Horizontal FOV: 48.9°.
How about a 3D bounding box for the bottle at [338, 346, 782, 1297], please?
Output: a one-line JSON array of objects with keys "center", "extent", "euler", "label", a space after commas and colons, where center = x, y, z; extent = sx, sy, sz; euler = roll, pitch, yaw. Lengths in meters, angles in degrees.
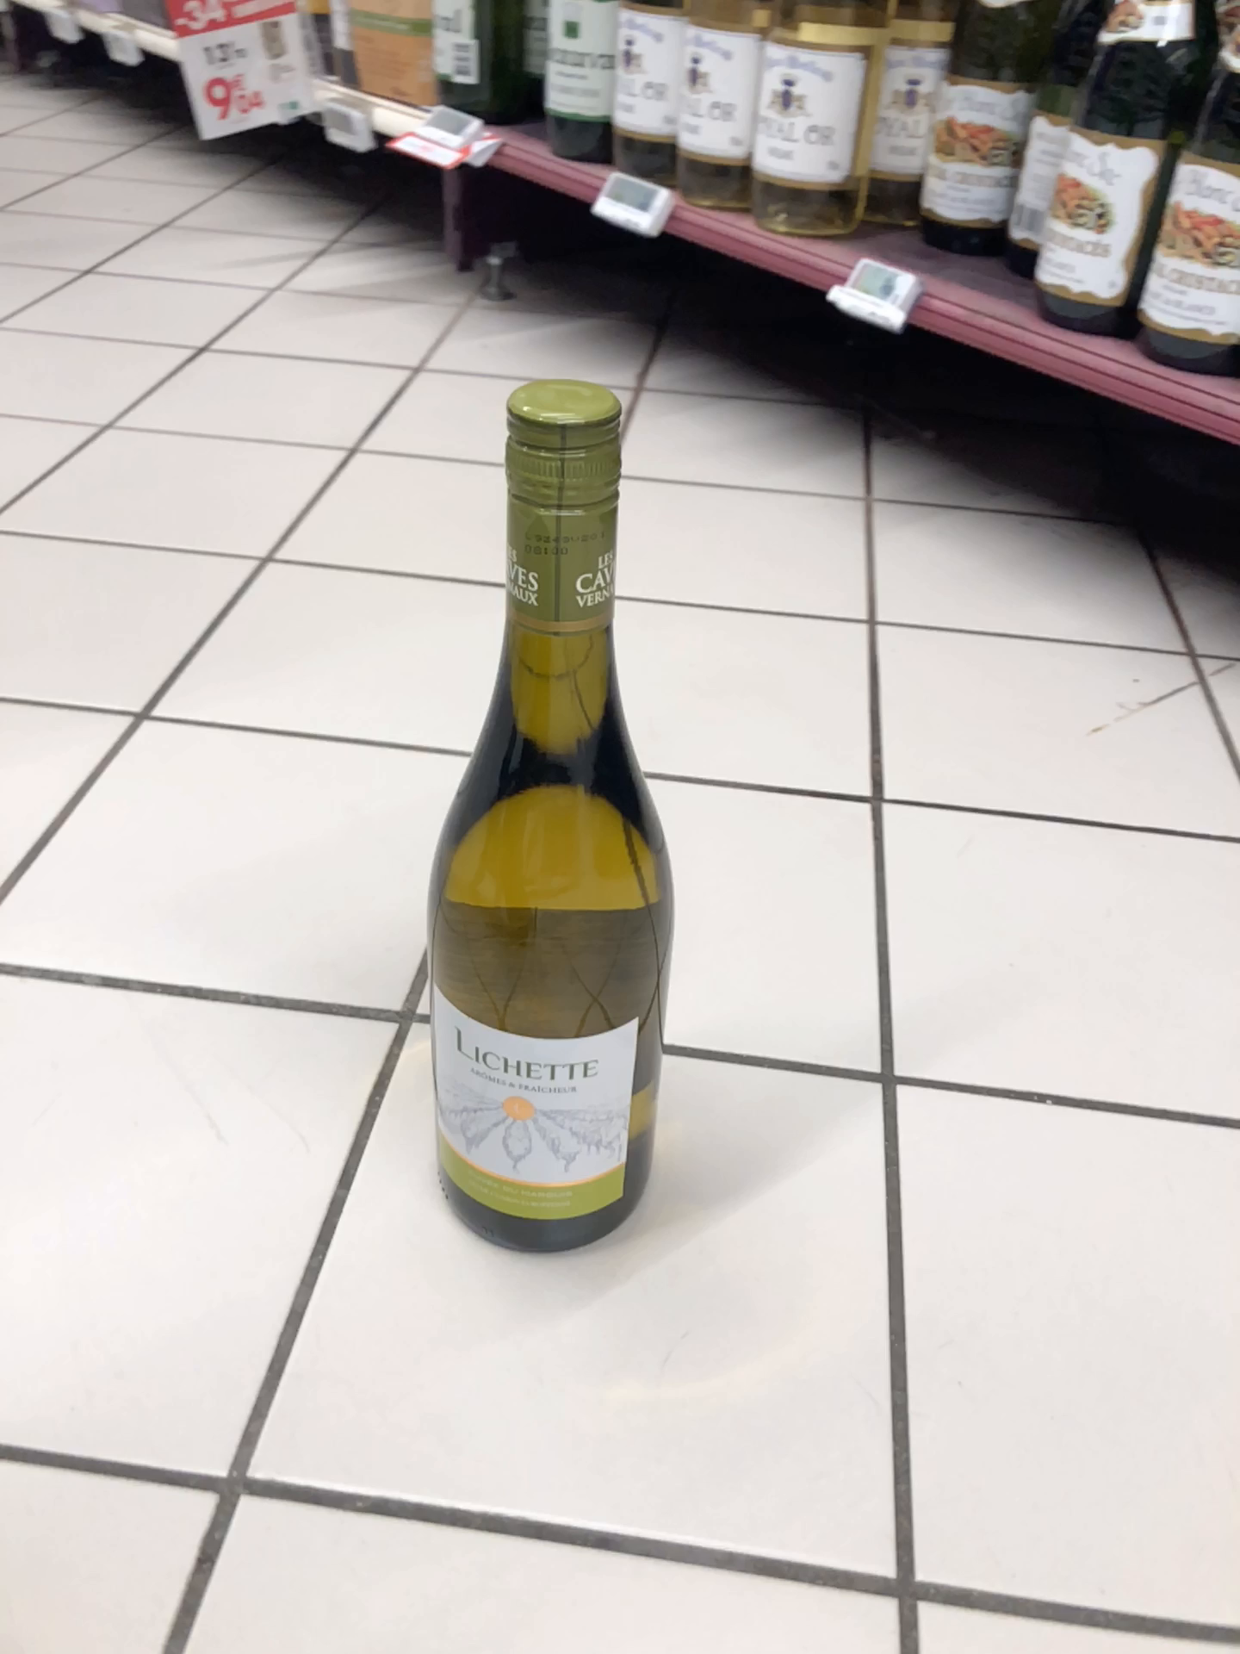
[{"center": [-0.017, 0.012, 0.419], "extent": [0.090, 0.278, 0.091], "euler": [2, 36, -2], "label": "bottle"}]
